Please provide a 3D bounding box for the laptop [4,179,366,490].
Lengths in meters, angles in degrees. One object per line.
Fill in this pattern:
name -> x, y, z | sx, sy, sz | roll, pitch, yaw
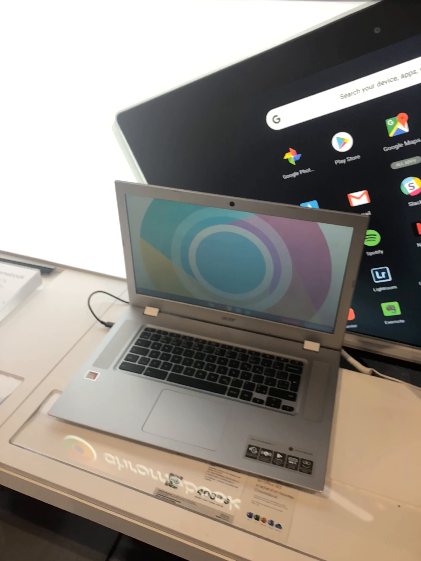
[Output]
laptop -> -0.008, 0.046, 0.642 | 0.377, 0.250, 0.265 | 10, 35, 15
